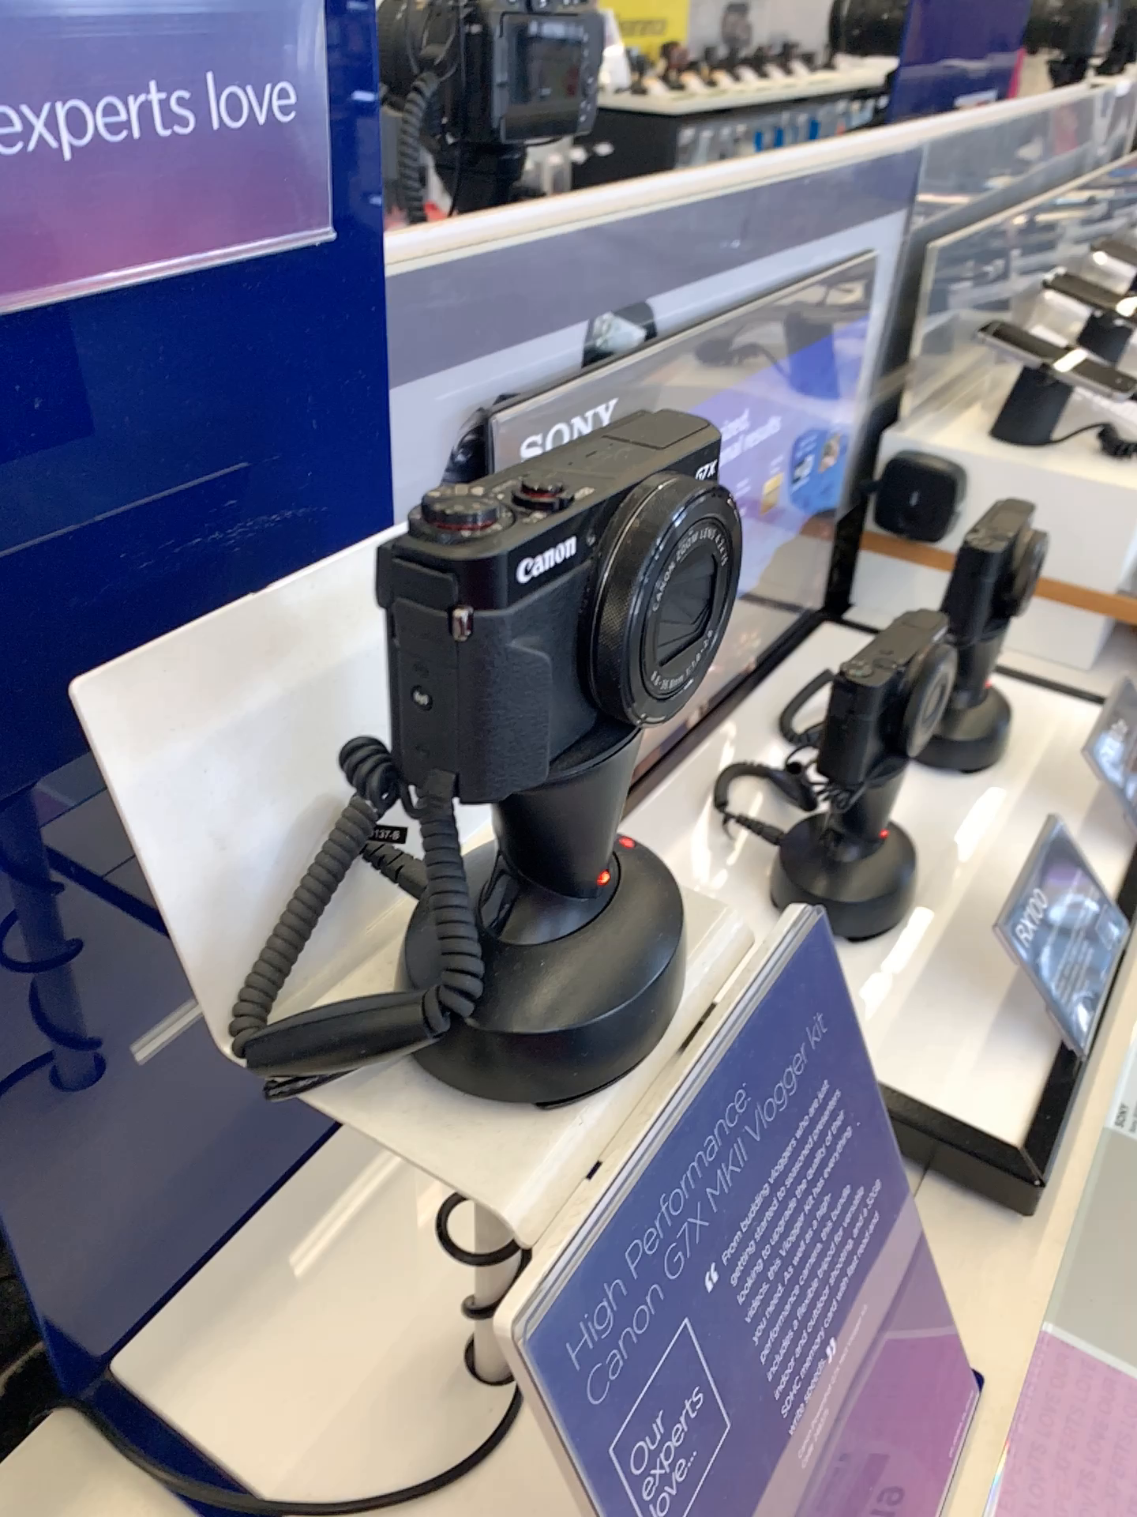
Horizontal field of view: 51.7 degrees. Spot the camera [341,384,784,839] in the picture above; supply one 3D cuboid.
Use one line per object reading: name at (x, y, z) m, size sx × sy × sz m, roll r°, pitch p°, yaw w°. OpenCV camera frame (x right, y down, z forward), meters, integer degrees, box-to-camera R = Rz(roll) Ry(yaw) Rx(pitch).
camera at (0.004, -0.039, 0.264) m, size 0.038 × 0.059 × 0.109 m, roll 22°, pitch 38°, yaw 29°
